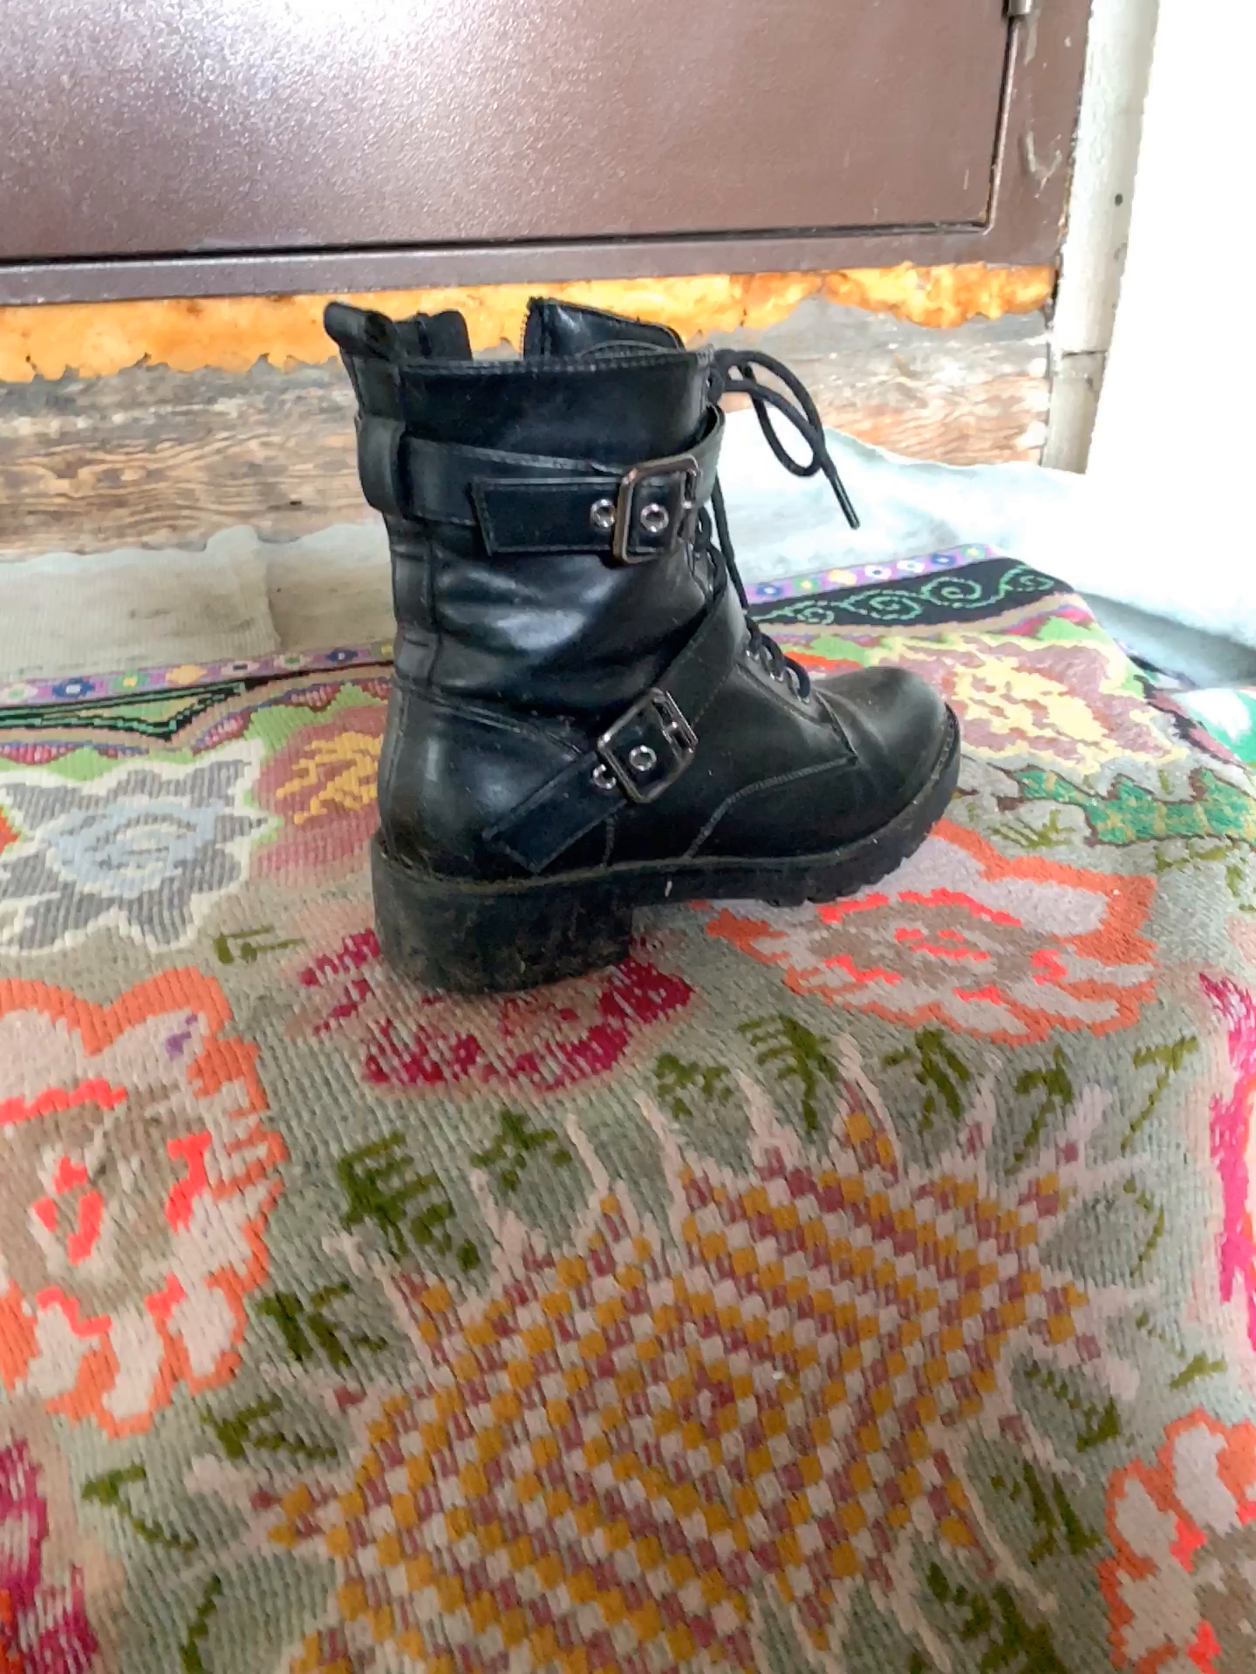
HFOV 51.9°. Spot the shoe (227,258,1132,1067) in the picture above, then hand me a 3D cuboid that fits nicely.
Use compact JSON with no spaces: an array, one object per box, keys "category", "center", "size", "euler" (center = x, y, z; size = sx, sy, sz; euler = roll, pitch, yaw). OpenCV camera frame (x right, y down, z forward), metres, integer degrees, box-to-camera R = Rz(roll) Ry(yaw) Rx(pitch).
[{"category":"shoe","center":[0.021,-0.068,0.404],"size":[0.241,0.188,0.091],"euler":[-16,33,-26]}]
